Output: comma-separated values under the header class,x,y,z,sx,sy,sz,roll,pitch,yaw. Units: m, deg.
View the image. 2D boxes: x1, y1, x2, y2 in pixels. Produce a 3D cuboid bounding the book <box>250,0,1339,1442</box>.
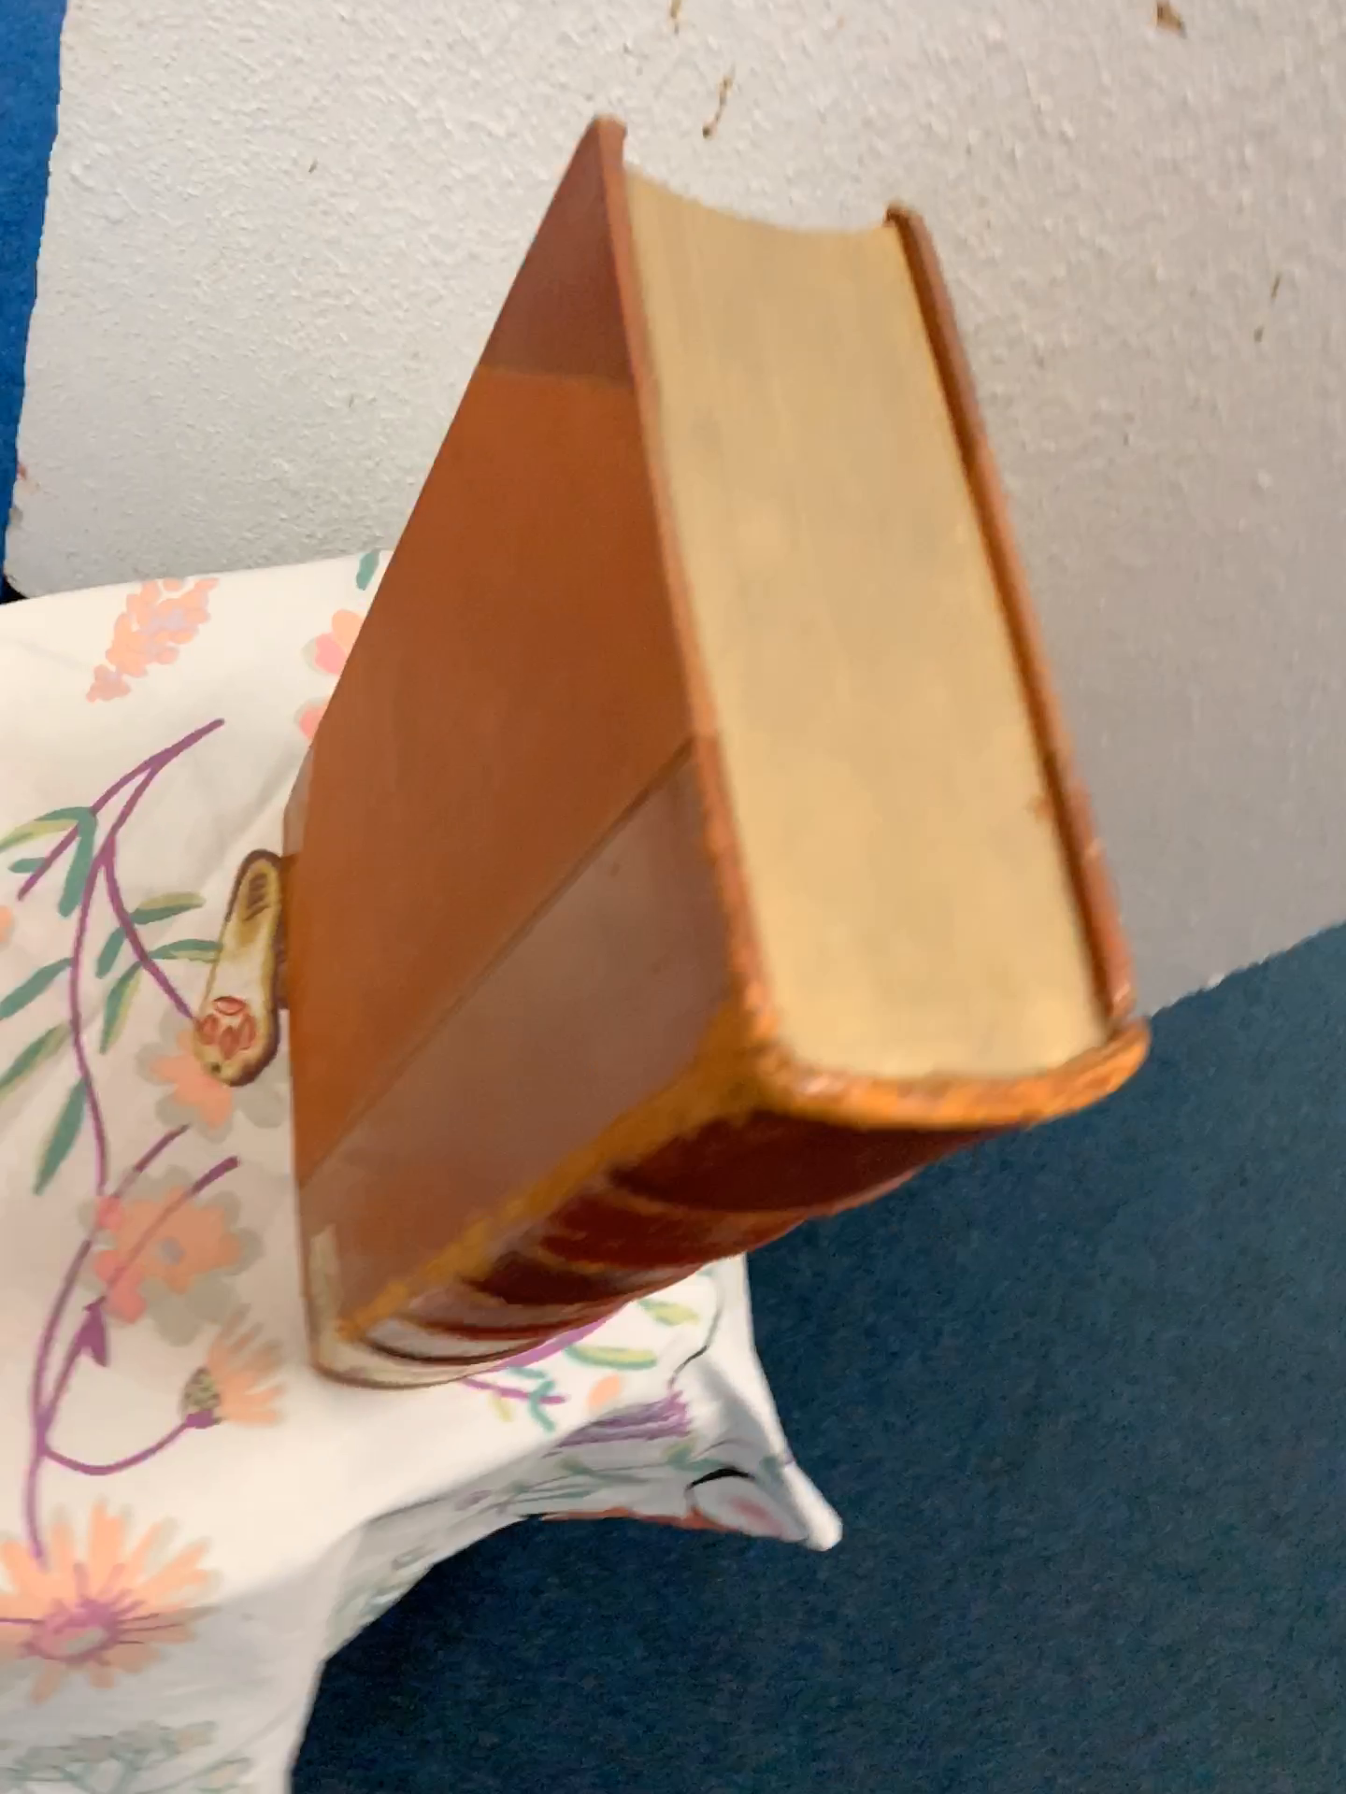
class,x,y,z,sx,sy,sz,roll,pitch,yaw
book,-0.021,-0.005,0.287,0.070,0.249,0.191,4,64,-29
